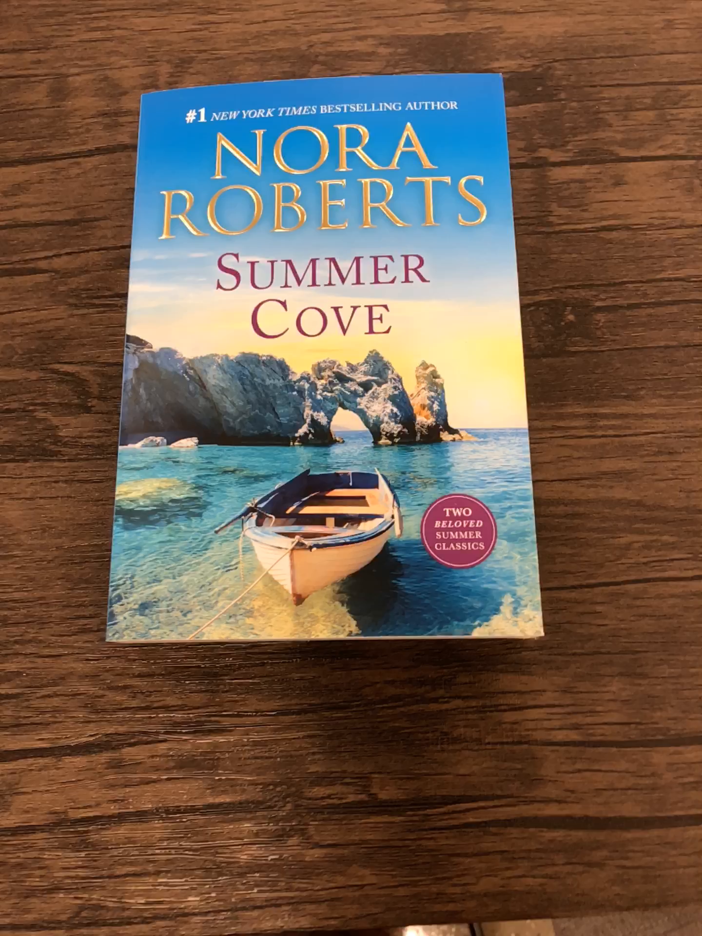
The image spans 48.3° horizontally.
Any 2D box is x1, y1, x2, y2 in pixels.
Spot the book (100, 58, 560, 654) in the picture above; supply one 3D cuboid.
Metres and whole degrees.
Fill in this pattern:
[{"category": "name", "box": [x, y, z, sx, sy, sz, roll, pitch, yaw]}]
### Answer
[{"category": "book", "box": [-0.009, -0.043, 0.286, 0.140, 0.043, 0.210, -2, 75, 1]}]
